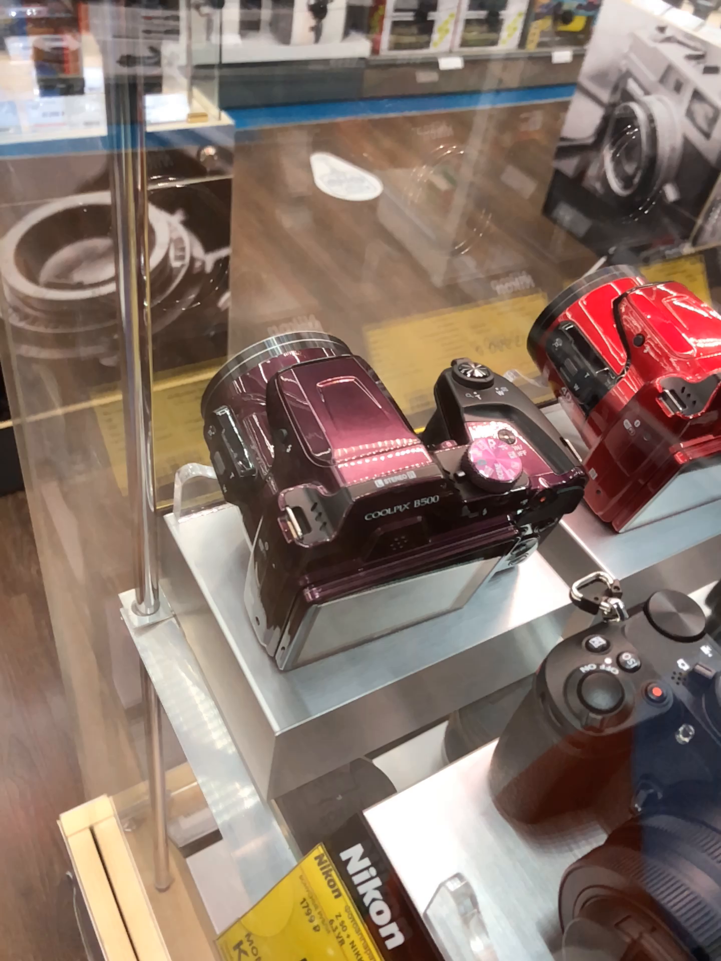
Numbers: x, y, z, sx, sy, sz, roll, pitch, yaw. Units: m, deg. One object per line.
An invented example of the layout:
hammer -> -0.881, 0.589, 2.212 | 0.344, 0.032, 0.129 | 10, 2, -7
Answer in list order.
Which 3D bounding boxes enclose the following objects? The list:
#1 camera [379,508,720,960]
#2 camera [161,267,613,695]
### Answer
camera -> 0.085, 0.094, 0.193 | 0.100, 0.084, 0.134 | -15, 50, -24
camera -> 0.001, -0.006, 0.279 | 0.109, 0.080, 0.100 | -15, 50, -24
